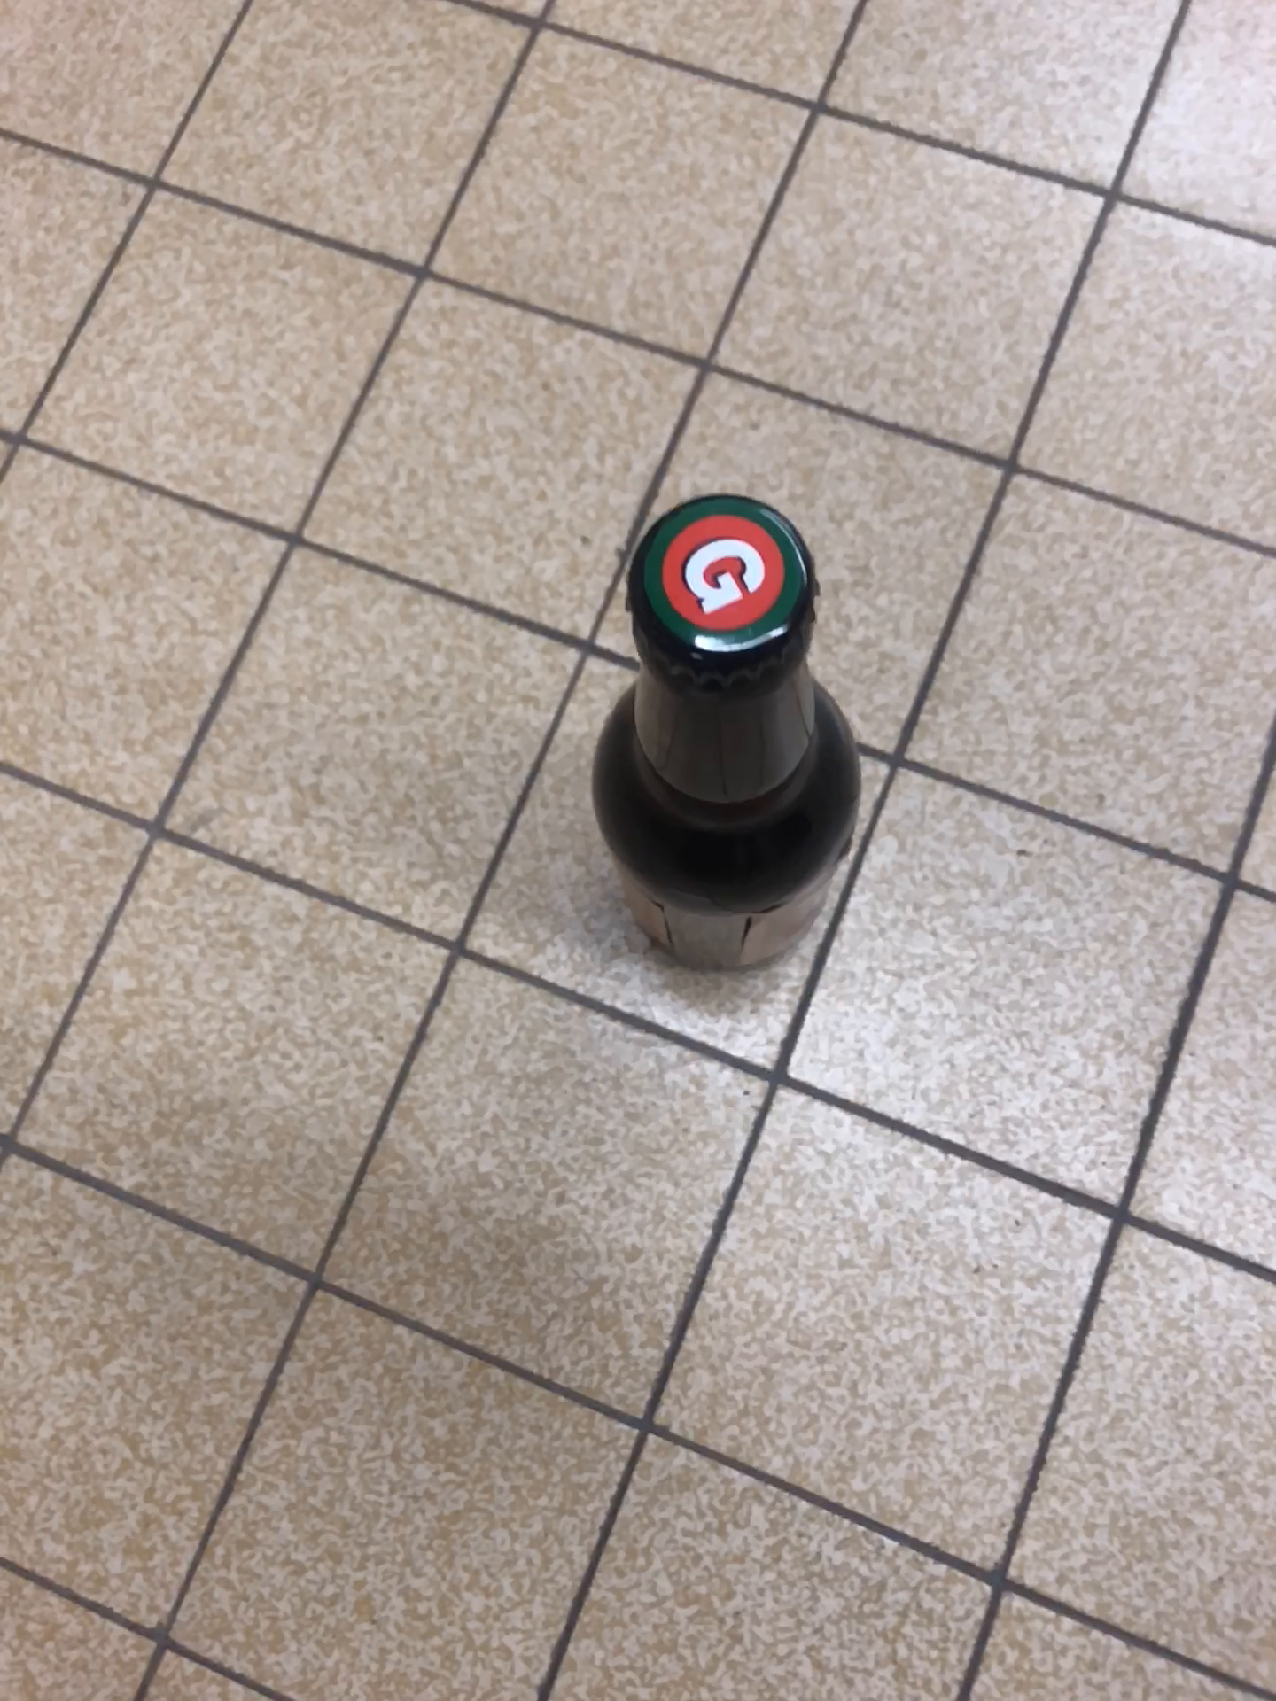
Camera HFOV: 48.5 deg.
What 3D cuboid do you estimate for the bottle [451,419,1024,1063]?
[{"bbox_3d":[0.020,-0.001,0.305,0.070,0.220,0.070,-1,78,4],"label":"bottle"}]
